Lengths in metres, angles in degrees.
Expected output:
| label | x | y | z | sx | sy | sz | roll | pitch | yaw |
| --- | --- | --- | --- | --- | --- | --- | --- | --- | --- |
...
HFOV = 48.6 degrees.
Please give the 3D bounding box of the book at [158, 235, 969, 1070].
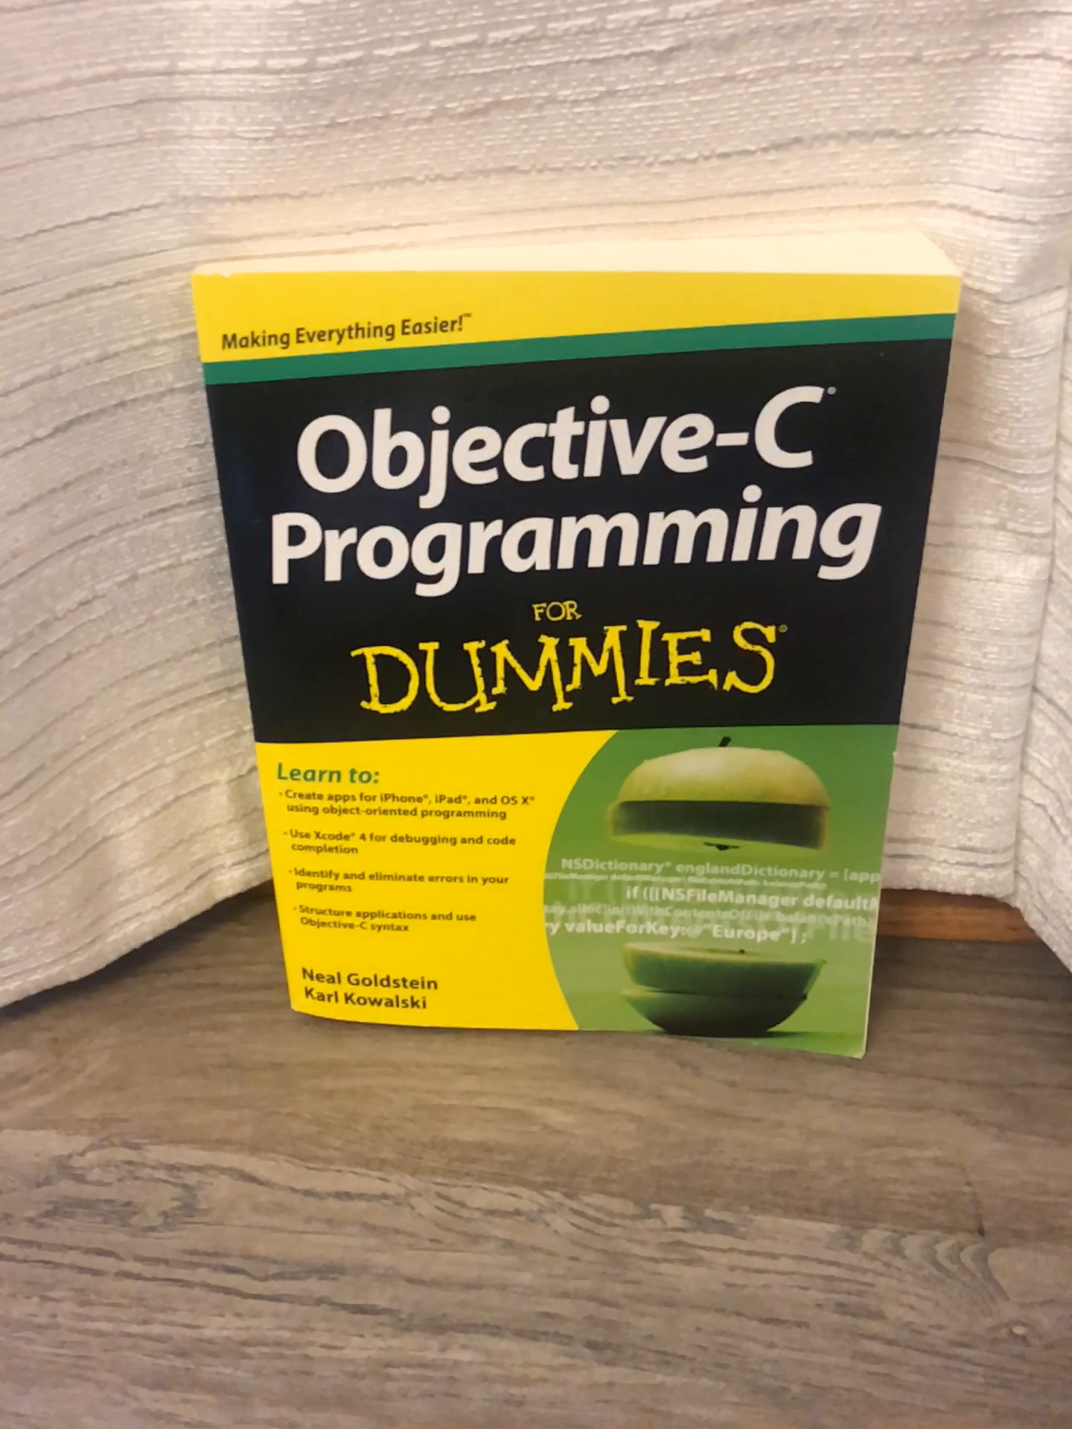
| label | x | y | z | sx | sy | sz | roll | pitch | yaw |
| --- | --- | --- | --- | --- | --- | --- | --- | --- | --- |
| book | 0.009 | -0.006 | 0.332 | 0.183 | 0.229 | 0.033 | 1 | 26 | 8 |
